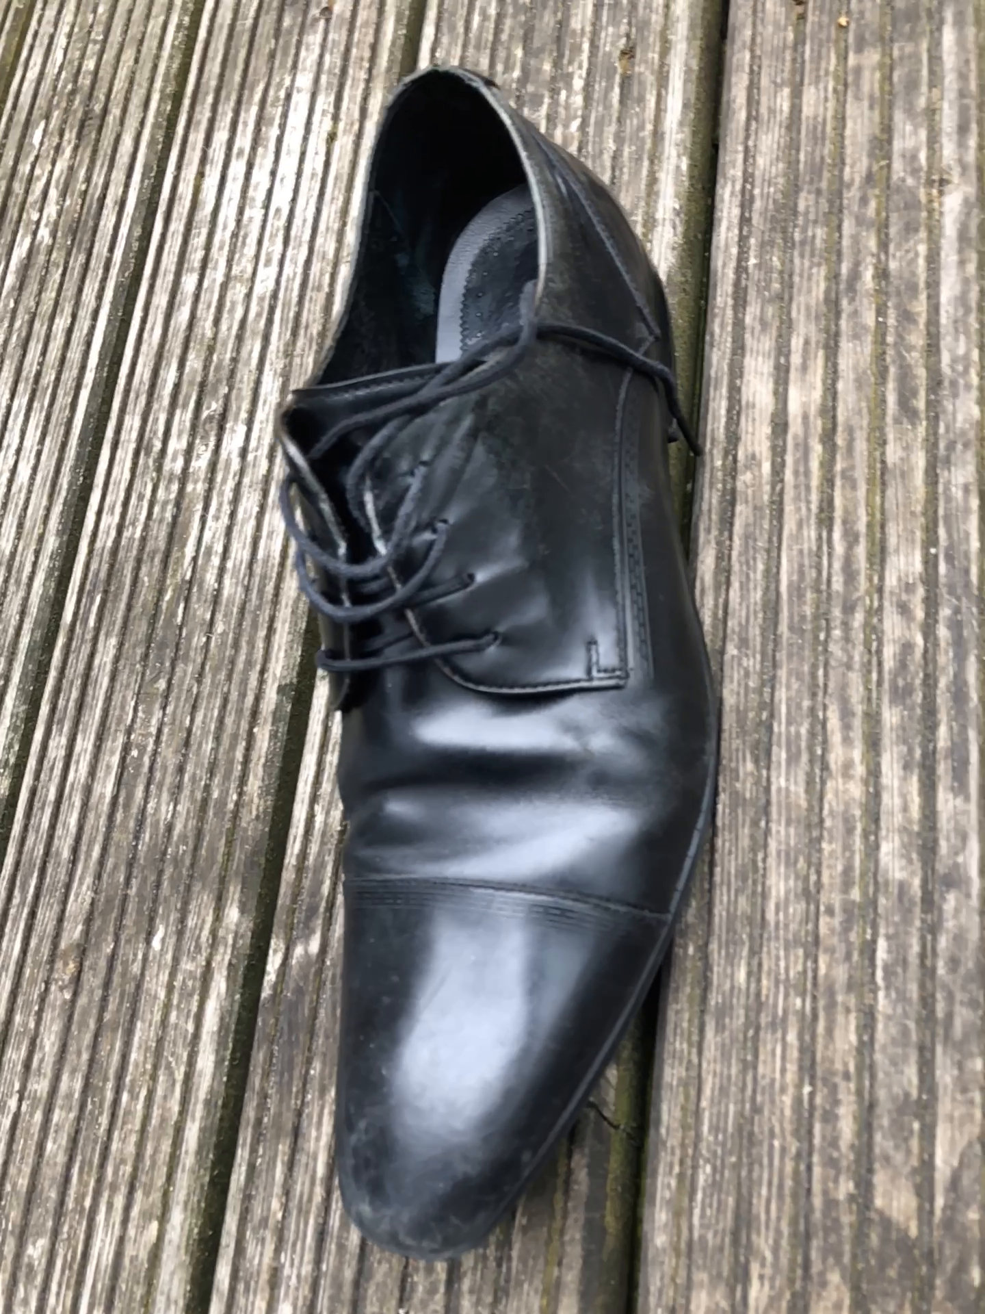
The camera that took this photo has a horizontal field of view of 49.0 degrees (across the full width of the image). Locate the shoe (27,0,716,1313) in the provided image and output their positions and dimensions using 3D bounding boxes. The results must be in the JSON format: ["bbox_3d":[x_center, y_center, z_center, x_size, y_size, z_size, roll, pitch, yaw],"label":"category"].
[{"bbox_3d":[-0.006,-0.014,0.313,0.090,0.150,0.341,-3,72,27],"label":"shoe"}]
